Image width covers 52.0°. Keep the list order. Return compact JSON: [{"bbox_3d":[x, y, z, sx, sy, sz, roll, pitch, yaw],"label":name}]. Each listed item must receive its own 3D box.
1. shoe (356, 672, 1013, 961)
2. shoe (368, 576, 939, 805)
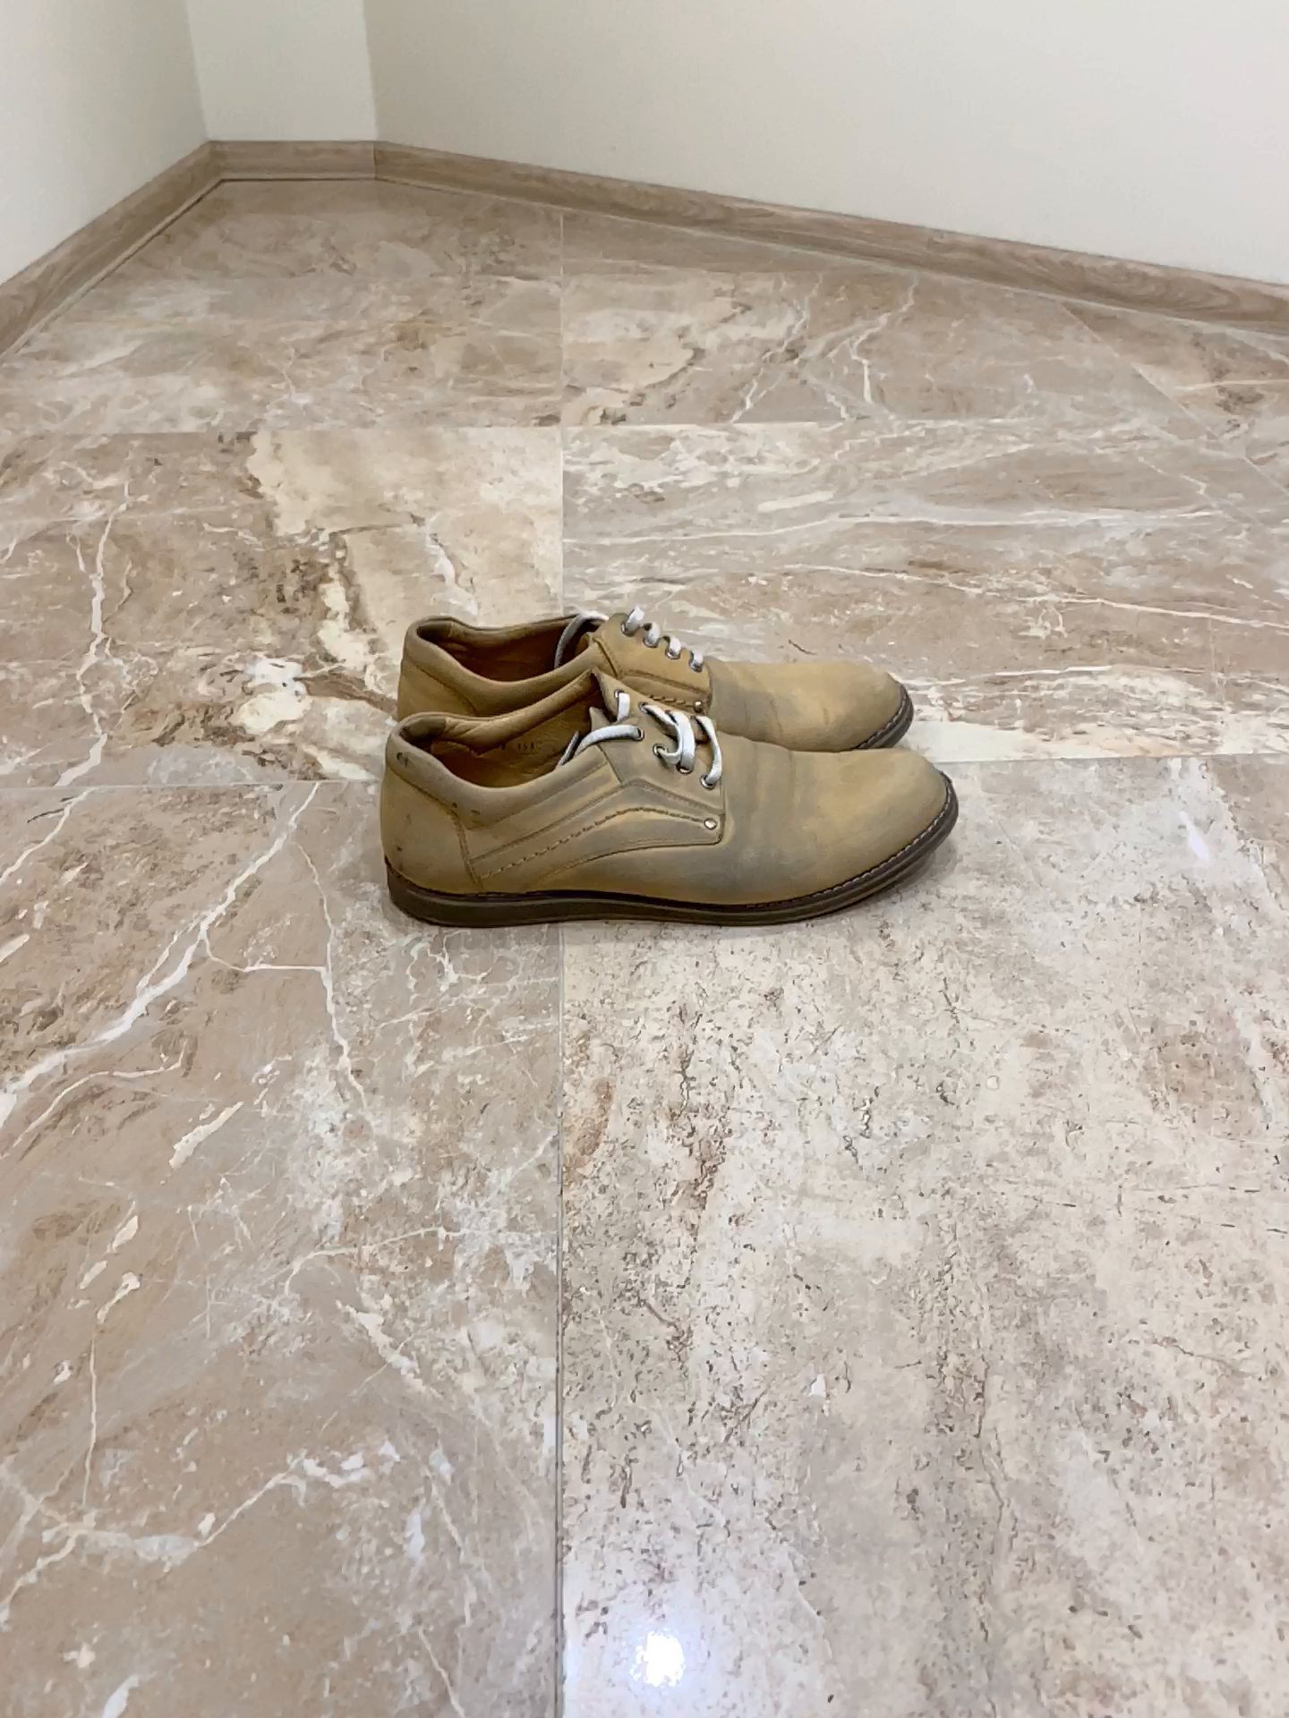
[{"bbox_3d":[0.015,-0.024,0.629,0.280,0.080,0.111,-2,36,-3],"label":"shoe"},{"bbox_3d":[0.002,-0.093,0.712,0.280,0.070,0.111,-2,36,-3],"label":"shoe"}]
